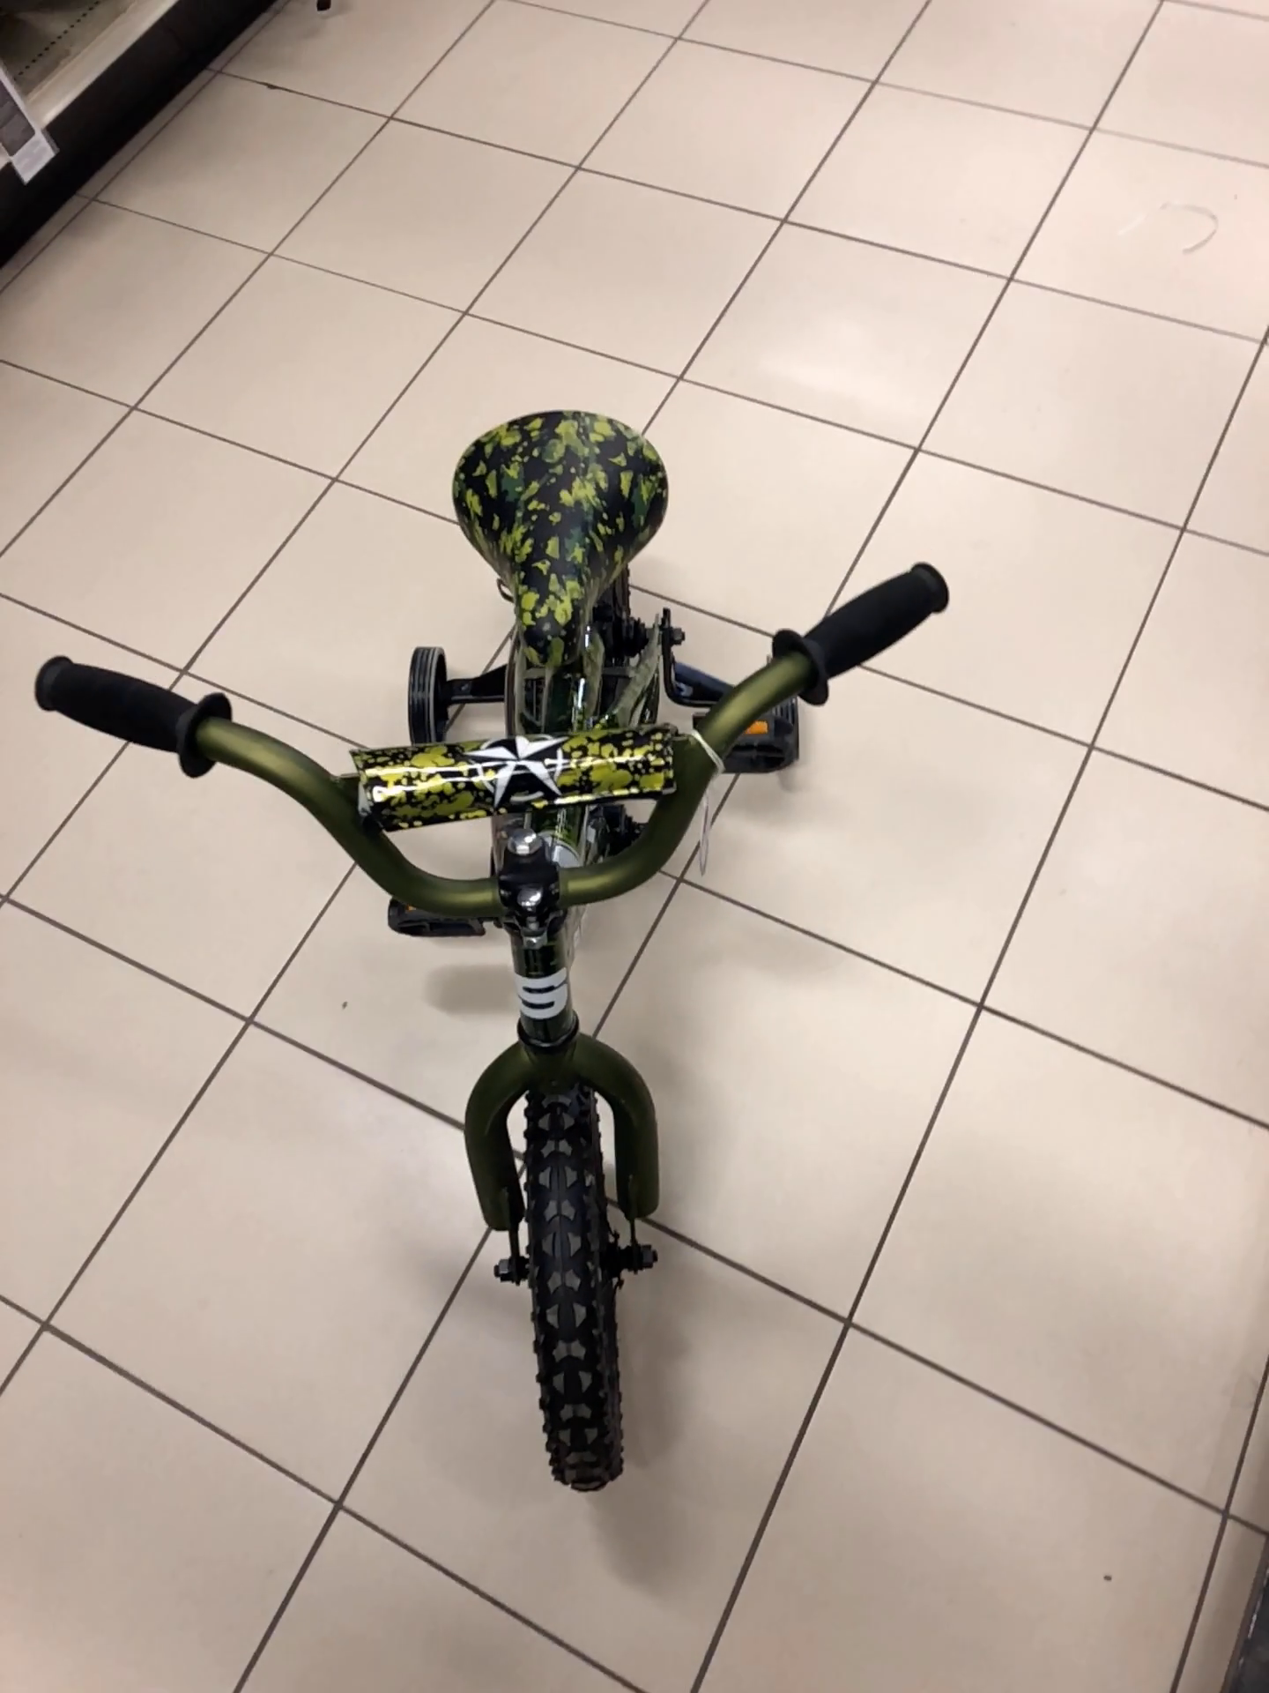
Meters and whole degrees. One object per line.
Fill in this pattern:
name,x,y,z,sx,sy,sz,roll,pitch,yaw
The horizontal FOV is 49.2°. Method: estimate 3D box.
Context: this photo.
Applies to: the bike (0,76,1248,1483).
bike,-0.036,-0.024,0.967,0.532,0.557,0.819,-3,59,4
